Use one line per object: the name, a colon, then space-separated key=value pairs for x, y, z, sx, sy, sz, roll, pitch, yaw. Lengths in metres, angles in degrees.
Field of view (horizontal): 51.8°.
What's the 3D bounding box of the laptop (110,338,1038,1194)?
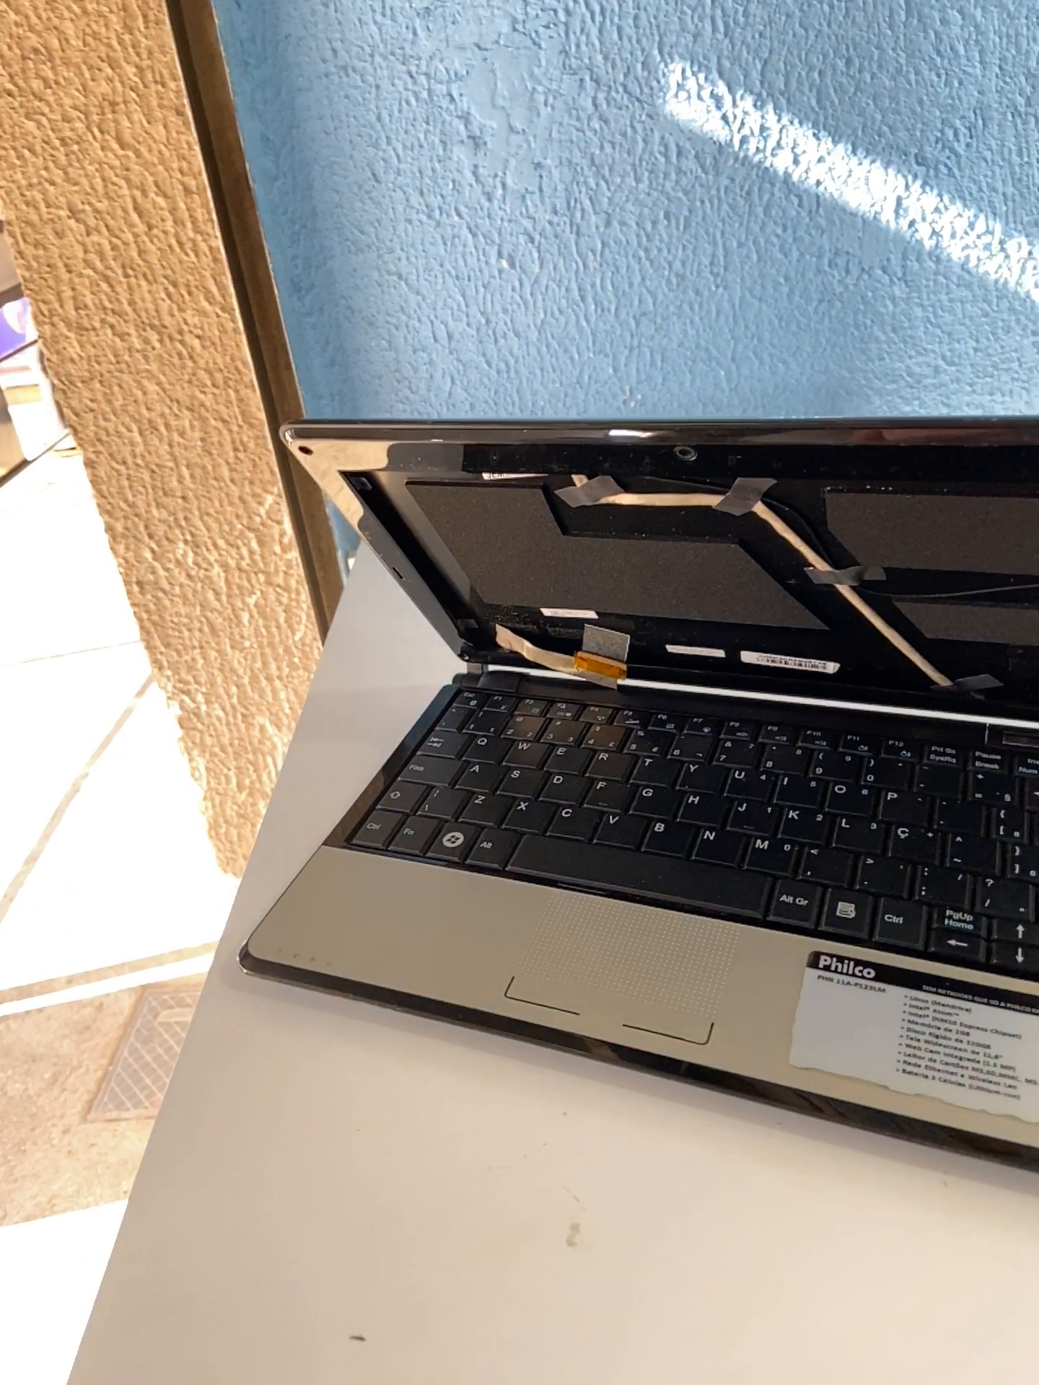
laptop: x=0.053 y=-0.005 z=0.341 sx=0.275 sy=0.144 sz=0.177 roll=6 pitch=35 yaw=23
